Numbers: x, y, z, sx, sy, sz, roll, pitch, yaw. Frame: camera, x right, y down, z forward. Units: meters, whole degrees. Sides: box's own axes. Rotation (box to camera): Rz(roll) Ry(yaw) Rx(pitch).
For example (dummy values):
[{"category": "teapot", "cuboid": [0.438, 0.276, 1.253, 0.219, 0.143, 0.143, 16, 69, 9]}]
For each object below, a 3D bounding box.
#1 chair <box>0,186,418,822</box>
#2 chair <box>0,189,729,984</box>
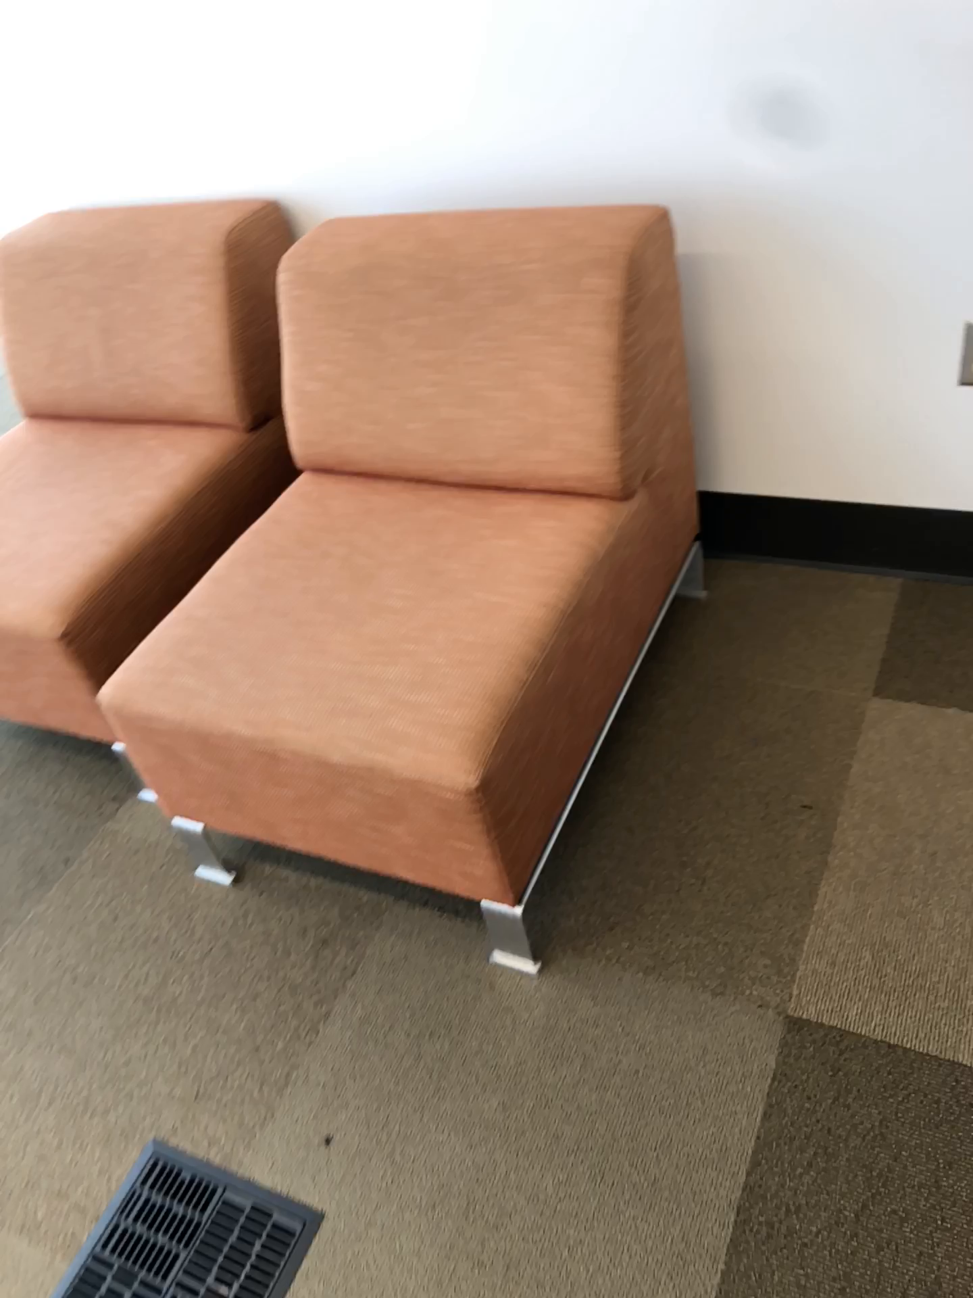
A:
[{"category": "chair", "cuboid": [-0.776, -0.337, 2.190, 0.766, 0.809, 0.934, 8, 44, 26]}, {"category": "chair", "cuboid": [-0.101, -0.161, 1.720, 0.696, 0.759, 0.924, 9, 45, 27]}]
